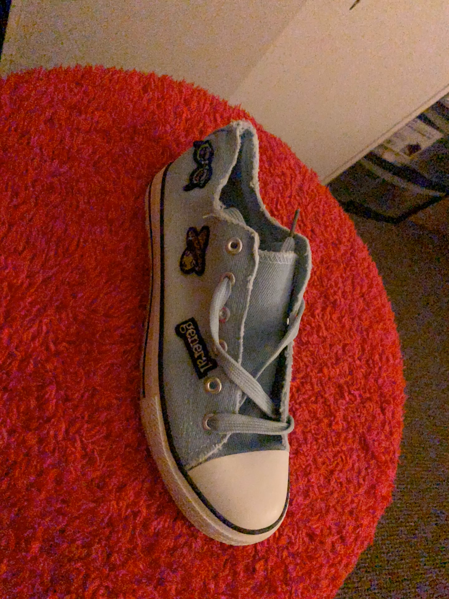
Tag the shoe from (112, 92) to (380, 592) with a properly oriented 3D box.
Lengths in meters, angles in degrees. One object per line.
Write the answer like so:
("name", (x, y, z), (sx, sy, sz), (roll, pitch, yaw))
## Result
("shoe", (-0.001, 0.016, 0.284), (0.098, 0.087, 0.250), (4, 68, -32))
